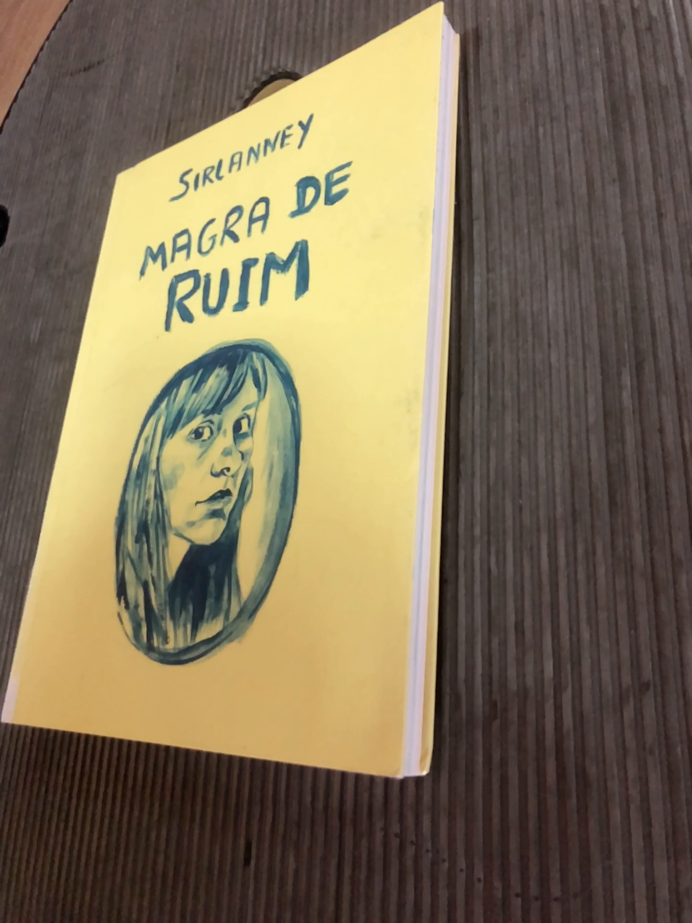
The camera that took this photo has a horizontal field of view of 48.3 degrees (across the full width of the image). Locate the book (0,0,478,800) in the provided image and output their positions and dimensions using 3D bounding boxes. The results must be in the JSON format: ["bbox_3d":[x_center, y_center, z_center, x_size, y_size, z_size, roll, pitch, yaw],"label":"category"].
[{"bbox_3d":[-0.036,-0.024,0.232,0.151,0.020,0.210,-8,69,36],"label":"book"}]
